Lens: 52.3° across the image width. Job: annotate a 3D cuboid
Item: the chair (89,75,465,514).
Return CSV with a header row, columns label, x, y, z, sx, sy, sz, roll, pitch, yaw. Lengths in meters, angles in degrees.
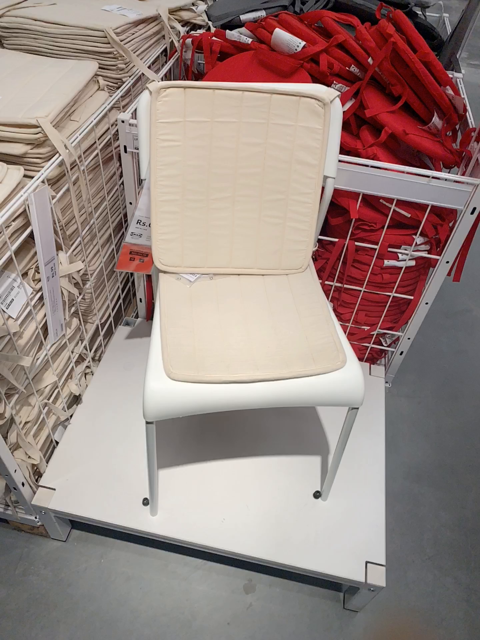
label,x,y,z,sx,sy,sz,roll,pitch,yaw
chair,-0.002,-0.018,0.963,0.430,0.698,0.482,-2,47,-8
